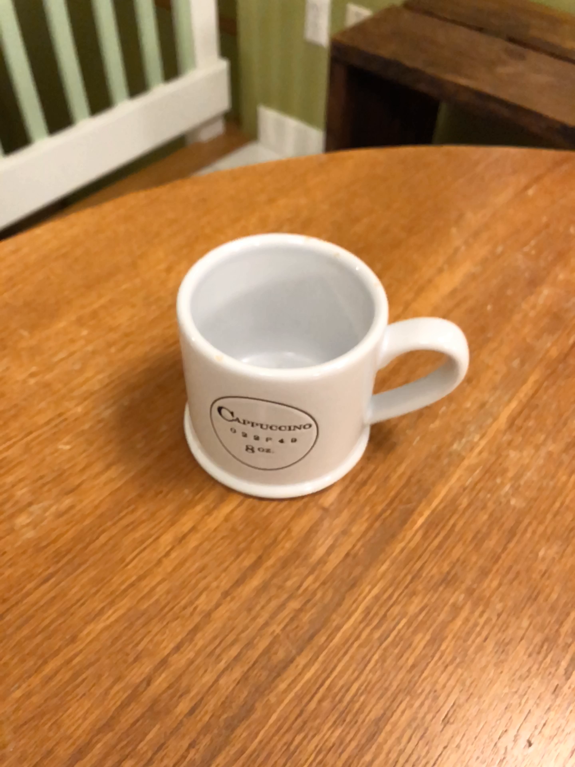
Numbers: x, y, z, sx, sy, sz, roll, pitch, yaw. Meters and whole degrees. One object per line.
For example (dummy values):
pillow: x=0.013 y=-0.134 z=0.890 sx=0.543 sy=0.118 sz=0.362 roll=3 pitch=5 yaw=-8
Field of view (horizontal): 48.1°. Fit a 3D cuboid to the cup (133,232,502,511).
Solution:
cup: x=0.012 y=-0.005 z=0.296 sx=0.135 sy=0.082 sz=0.090 roll=3 pitch=49 yaw=0
